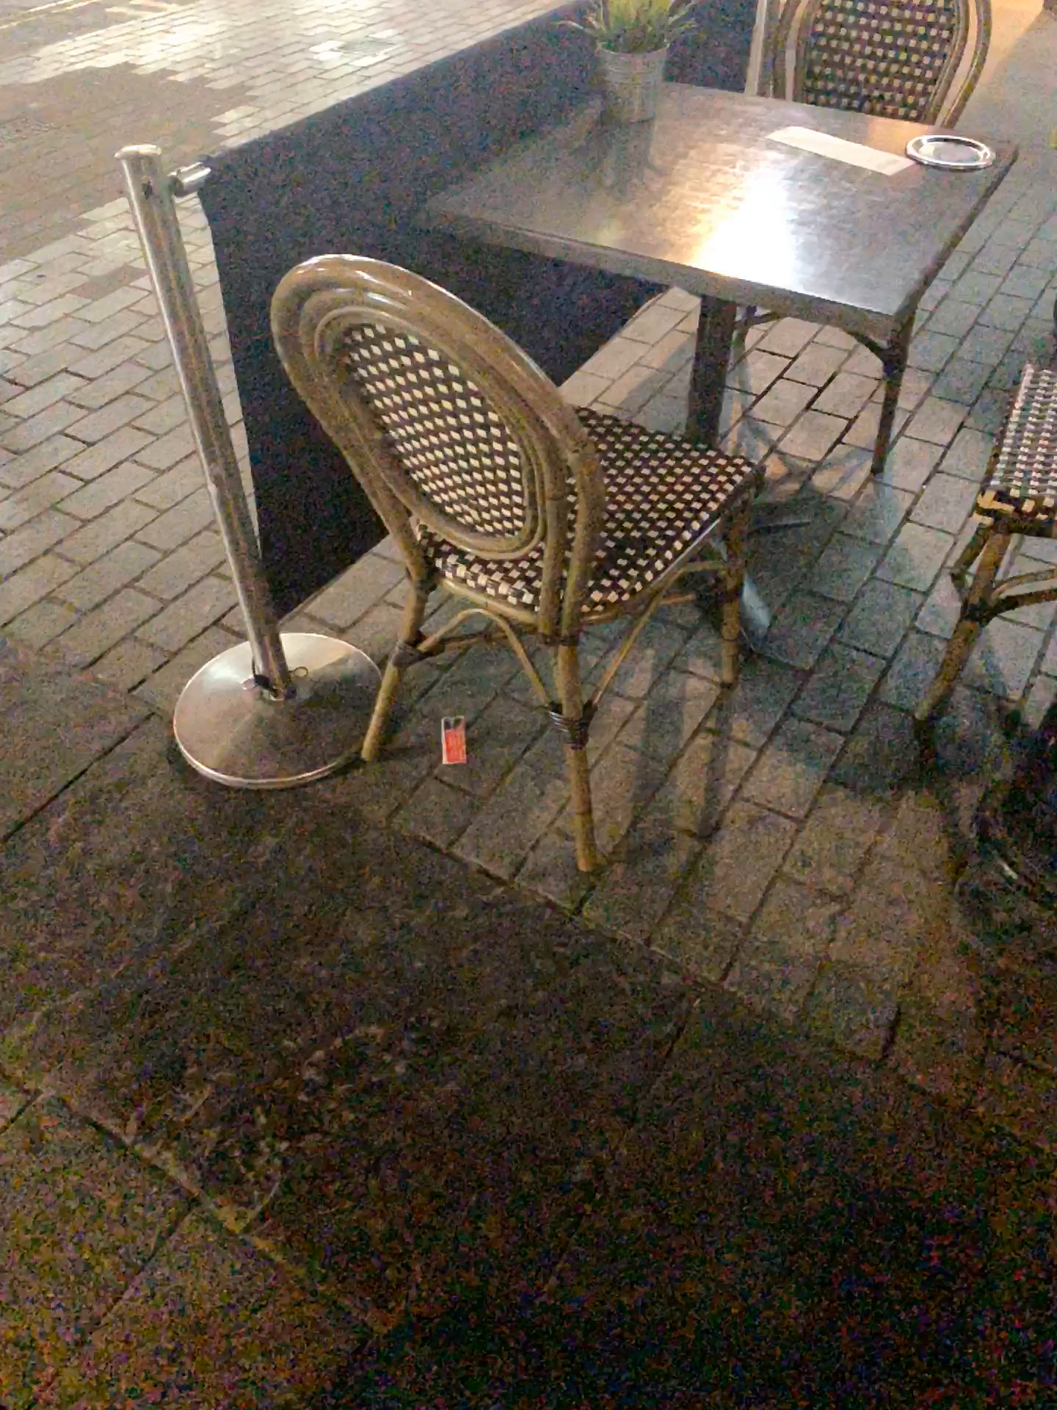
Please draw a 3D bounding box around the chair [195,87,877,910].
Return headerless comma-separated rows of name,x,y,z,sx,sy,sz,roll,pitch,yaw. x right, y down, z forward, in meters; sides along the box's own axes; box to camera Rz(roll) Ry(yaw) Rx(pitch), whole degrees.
chair,0.034,-0.281,1.453,0.512,0.792,0.604,24,49,22
